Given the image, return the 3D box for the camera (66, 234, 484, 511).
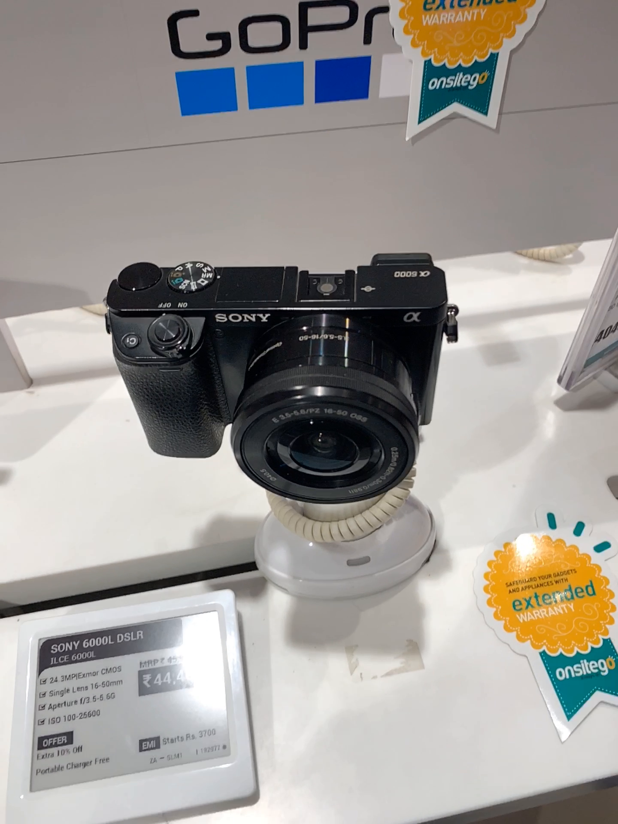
[{"bbox_3d":[-0.010,-0.011,0.233,0.120,0.090,0.050,-1,49,0],"label":"camera"}]
